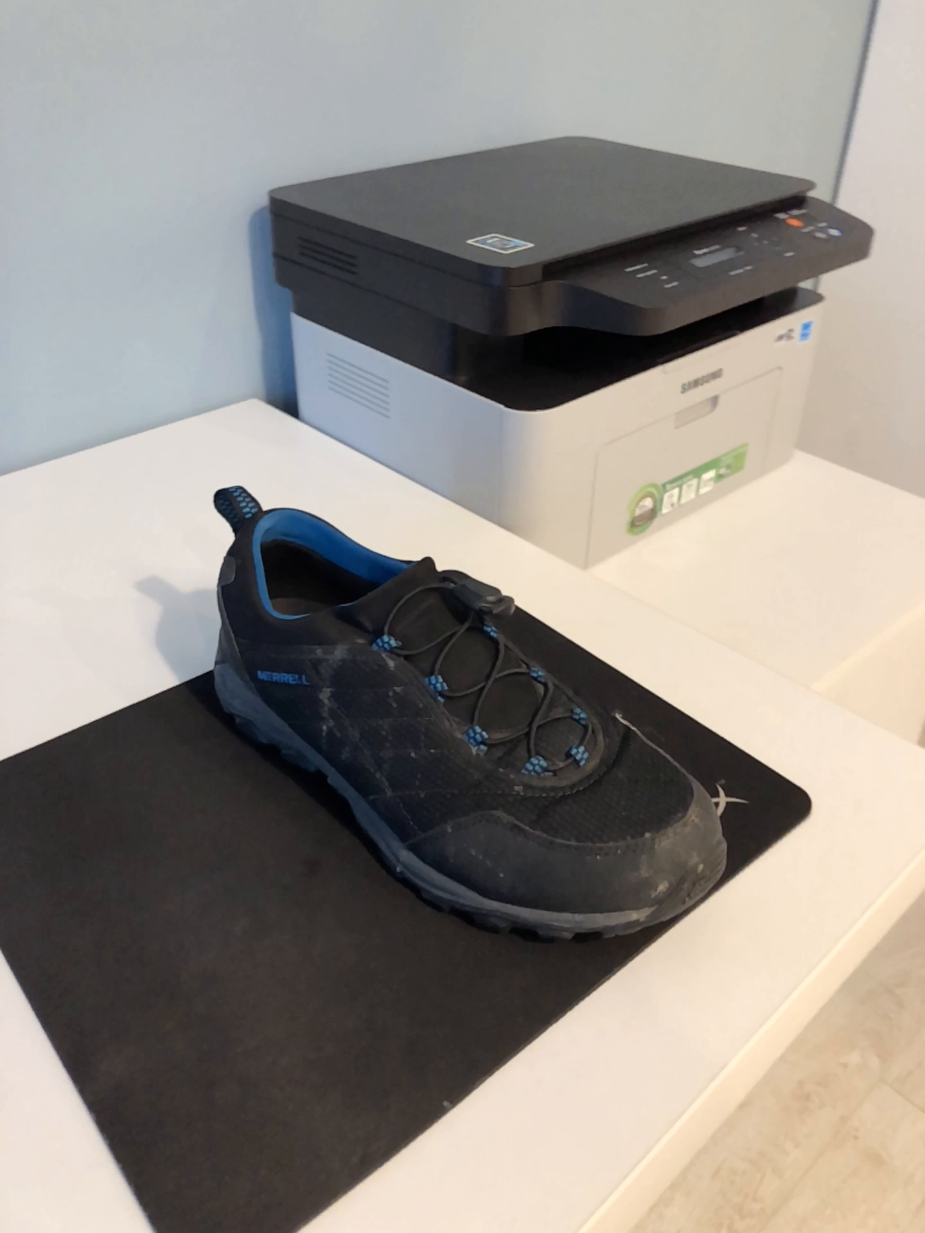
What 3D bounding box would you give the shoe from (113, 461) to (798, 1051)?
[{"bbox_3d":[-0.017,0.042,0.493,0.301,0.109,0.131,27,42,32],"label":"shoe"}]
